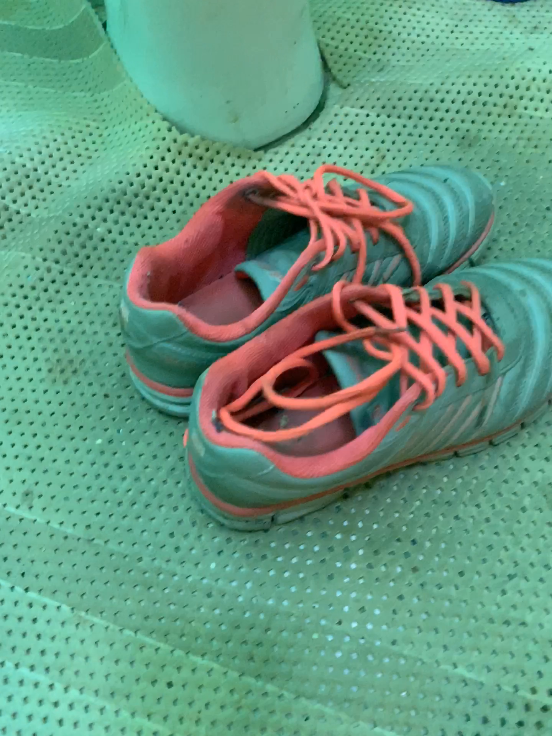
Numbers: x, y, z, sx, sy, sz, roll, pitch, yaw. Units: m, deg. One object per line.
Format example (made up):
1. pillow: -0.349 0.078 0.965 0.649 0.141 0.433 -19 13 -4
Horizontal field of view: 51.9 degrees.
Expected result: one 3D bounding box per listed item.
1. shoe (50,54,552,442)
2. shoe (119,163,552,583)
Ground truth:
1. shoe: 0.018 -0.078 0.364 0.270 0.090 0.110 -28 66 -9
2. shoe: 0.069 0.004 0.314 0.268 0.090 0.110 -23 65 -6
